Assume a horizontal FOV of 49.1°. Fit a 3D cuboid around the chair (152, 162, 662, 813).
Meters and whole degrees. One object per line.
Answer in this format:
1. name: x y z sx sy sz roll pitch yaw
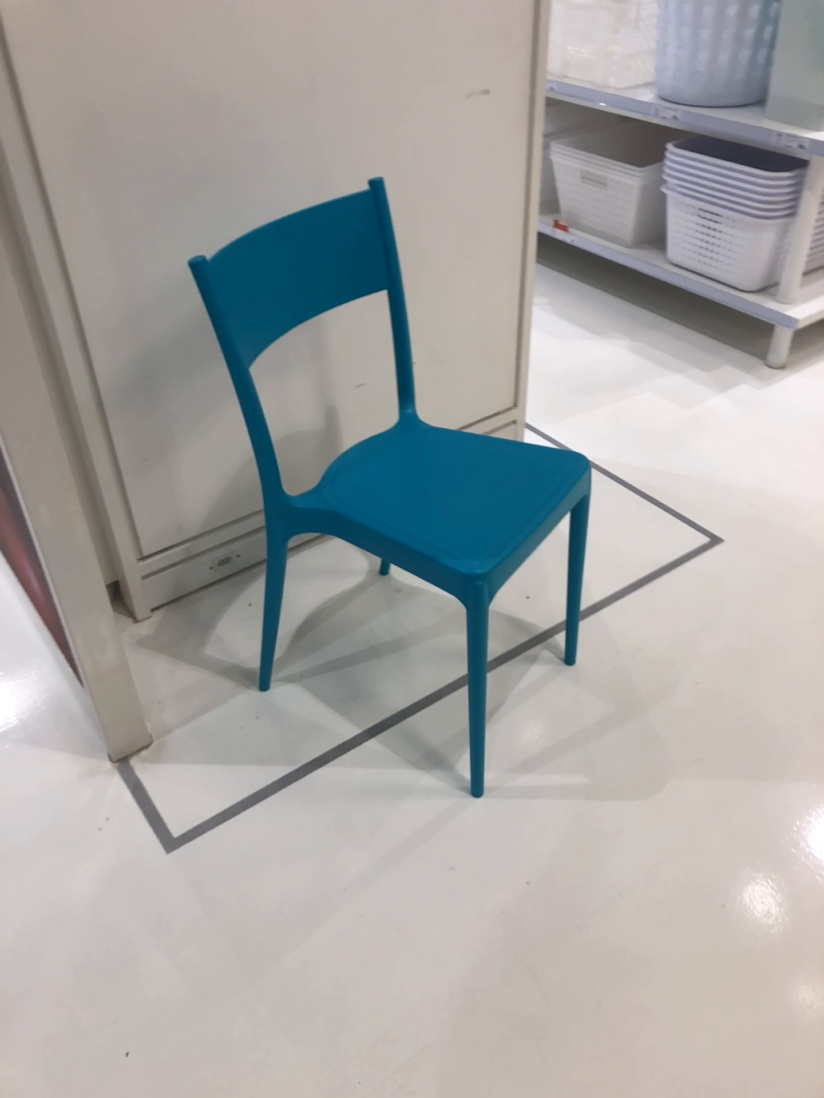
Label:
1. chair: 0.008 -0.103 1.412 0.511 0.794 0.433 21 43 27
